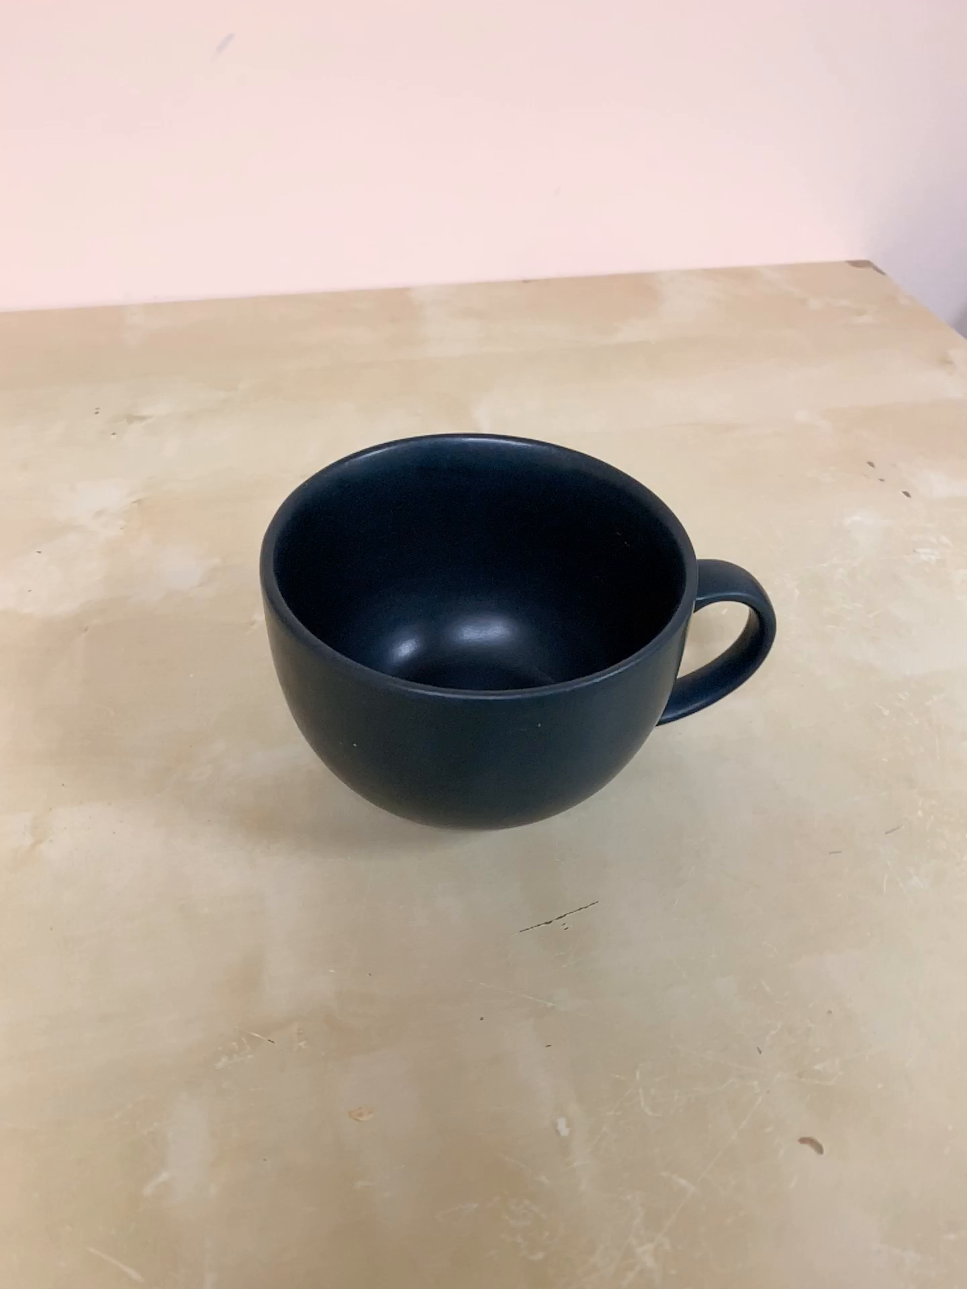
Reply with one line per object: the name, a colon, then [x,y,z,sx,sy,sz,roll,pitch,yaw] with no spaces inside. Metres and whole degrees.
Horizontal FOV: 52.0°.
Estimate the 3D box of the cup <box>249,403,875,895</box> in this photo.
cup: [0.012,-0.008,0.321,0.158,0.068,0.136,-7,44,-11]
